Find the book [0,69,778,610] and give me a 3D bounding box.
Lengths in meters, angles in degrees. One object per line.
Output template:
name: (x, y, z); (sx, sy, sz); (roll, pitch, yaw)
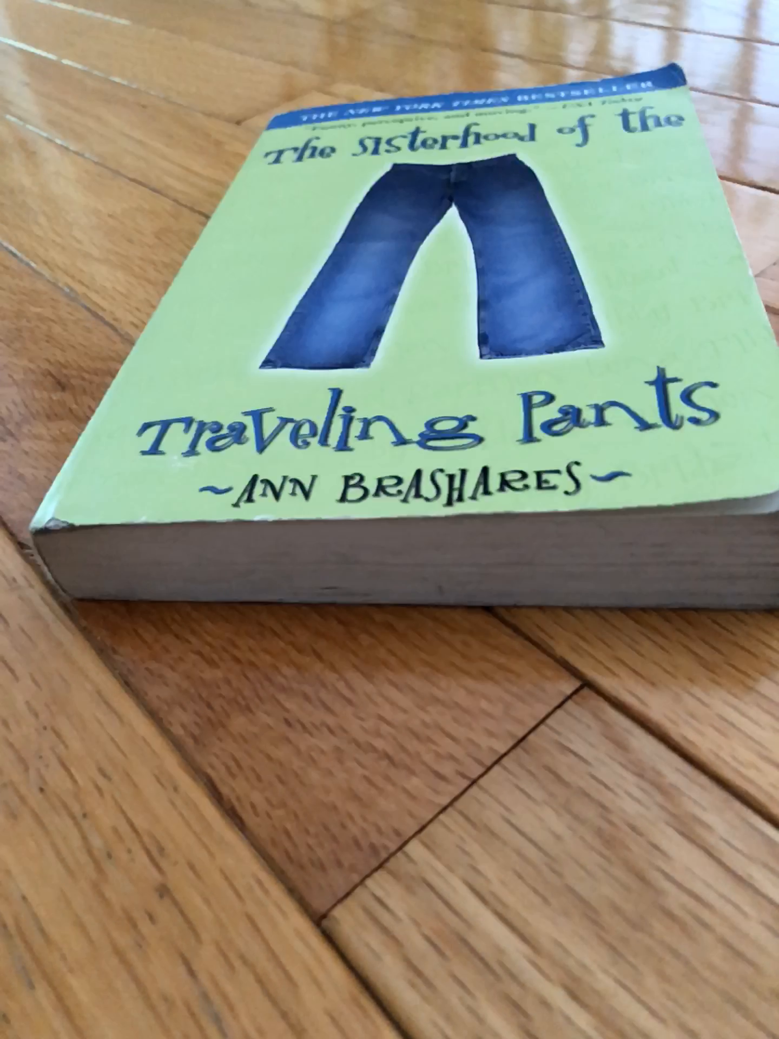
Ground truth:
book: (0.012, -0.065, 0.227); (0.141, 0.025, 0.210); (0, 42, 11)
